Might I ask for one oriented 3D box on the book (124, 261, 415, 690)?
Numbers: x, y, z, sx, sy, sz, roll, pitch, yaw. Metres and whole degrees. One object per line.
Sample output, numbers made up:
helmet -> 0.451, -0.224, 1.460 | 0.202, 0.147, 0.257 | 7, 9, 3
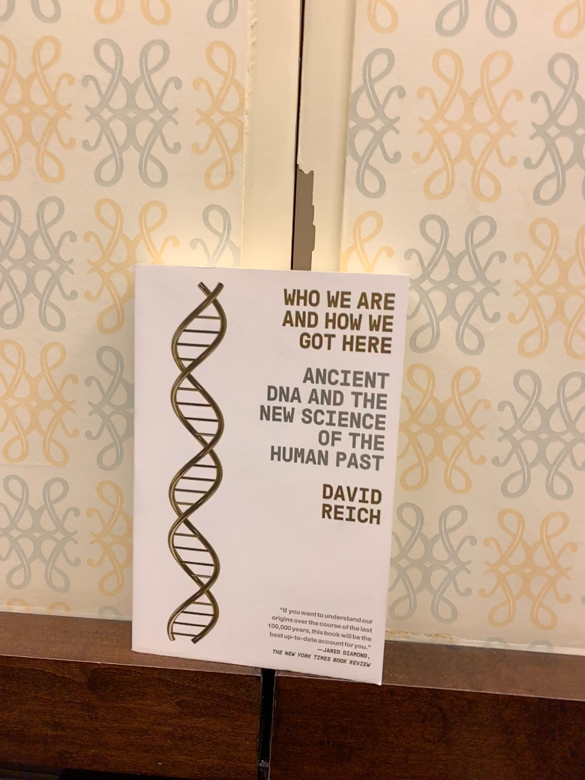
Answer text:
book -> -0.014, 0.041, 0.301 | 0.127, 0.199, 0.041 | 3, 9, 1
